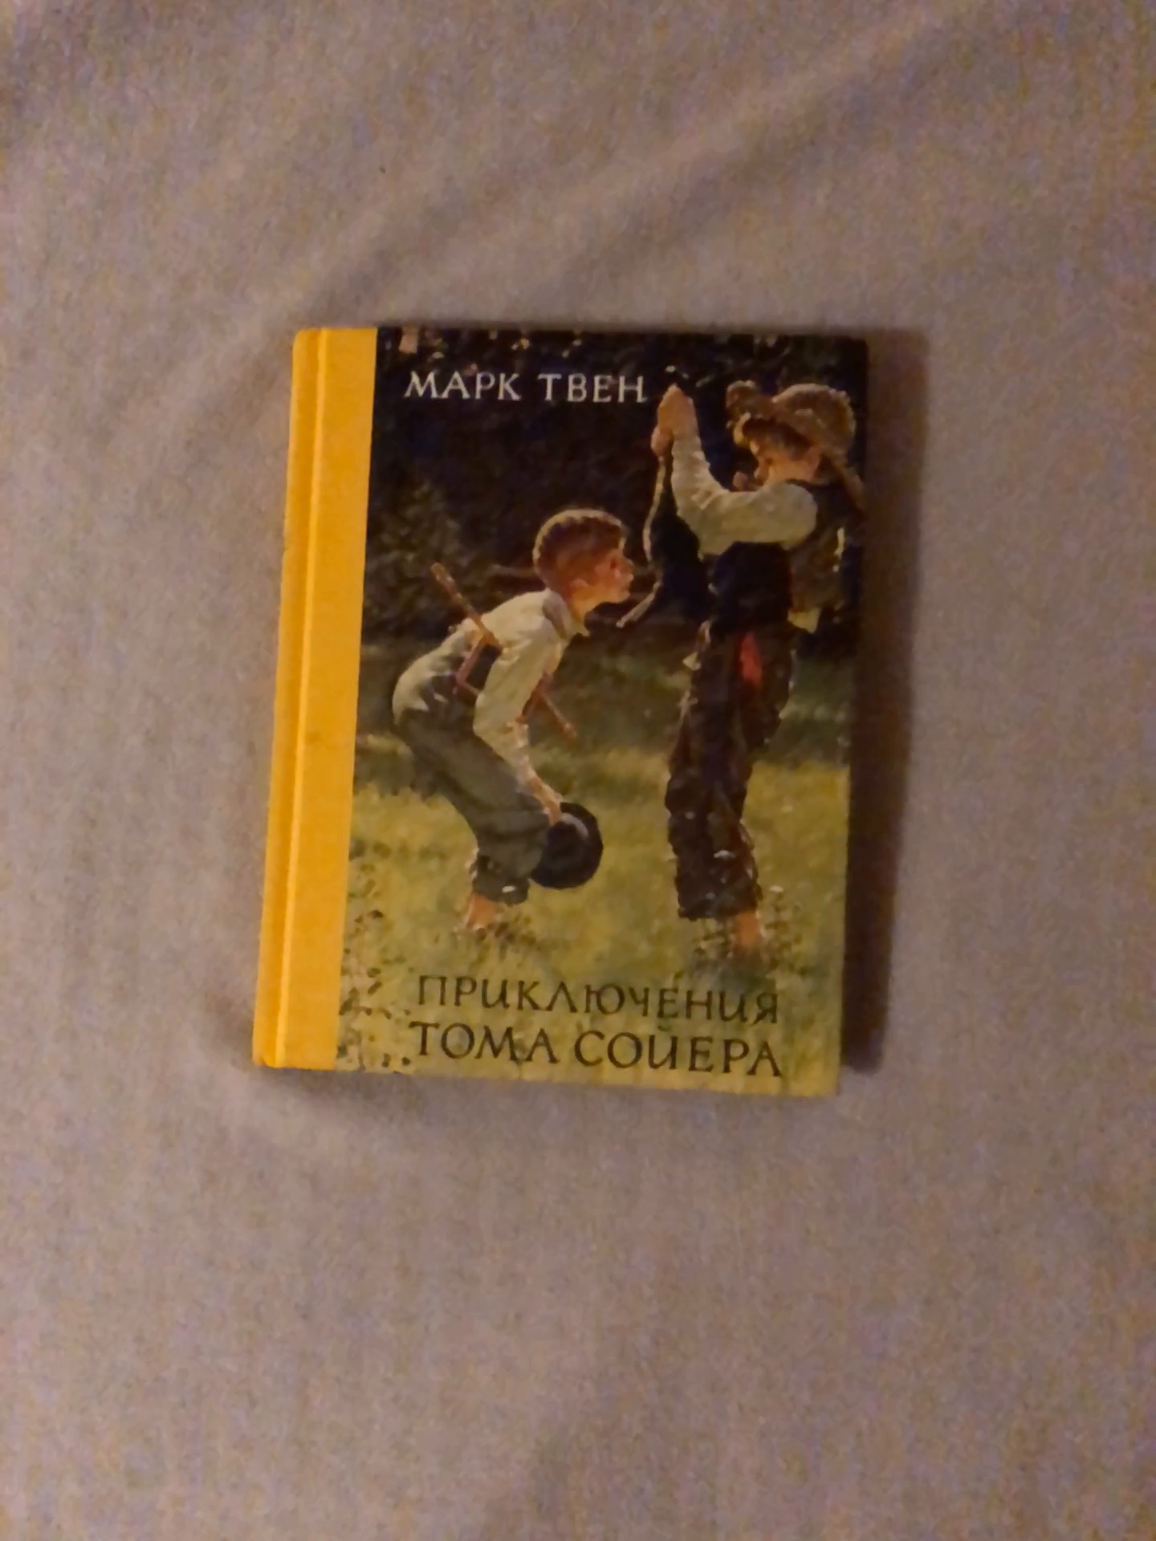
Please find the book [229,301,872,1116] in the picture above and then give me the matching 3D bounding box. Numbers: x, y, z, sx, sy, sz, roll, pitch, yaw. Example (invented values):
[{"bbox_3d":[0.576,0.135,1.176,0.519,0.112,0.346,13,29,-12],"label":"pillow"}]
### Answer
[{"bbox_3d":[-0.006,-0.021,0.375,0.170,0.030,0.224,3,86,4],"label":"book"}]
